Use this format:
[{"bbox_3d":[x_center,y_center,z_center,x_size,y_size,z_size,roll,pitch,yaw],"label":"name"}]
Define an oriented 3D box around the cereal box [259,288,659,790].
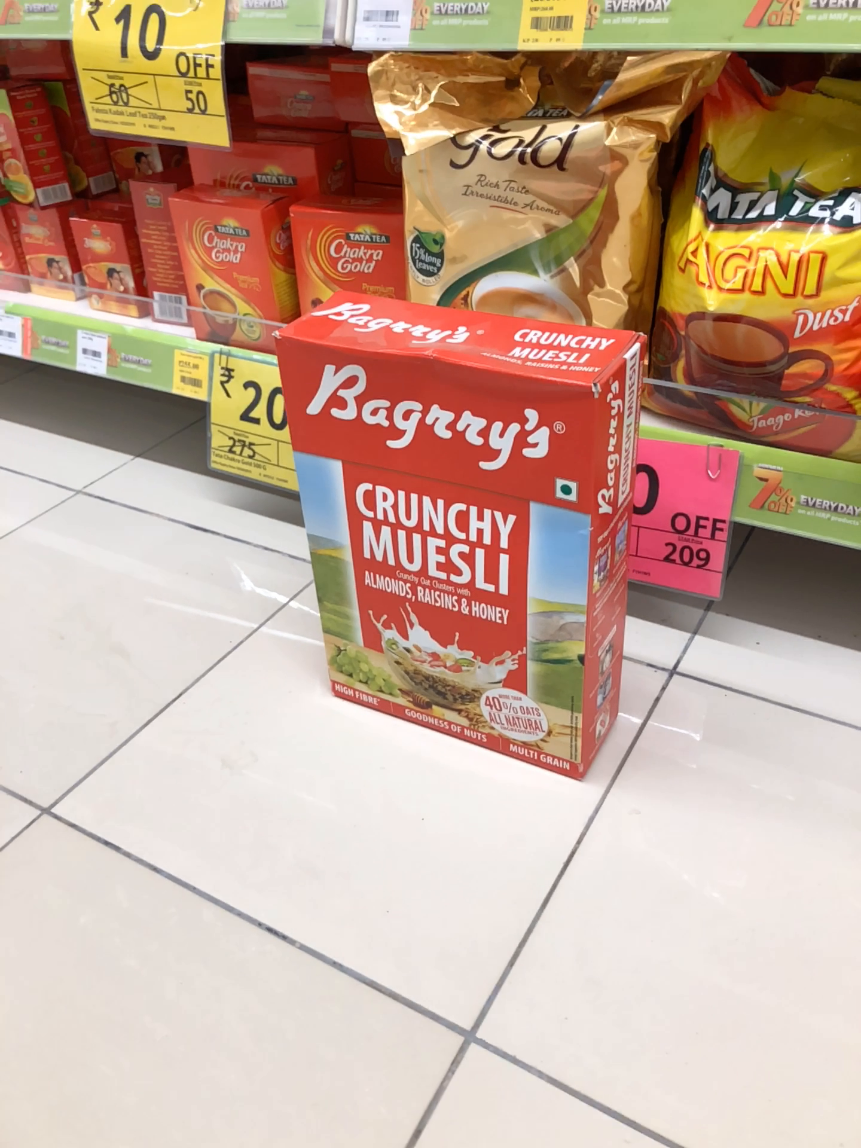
[{"bbox_3d":[0.020,-0.019,0.573,0.200,0.268,0.070,15,40,25],"label":"cereal box"}]
